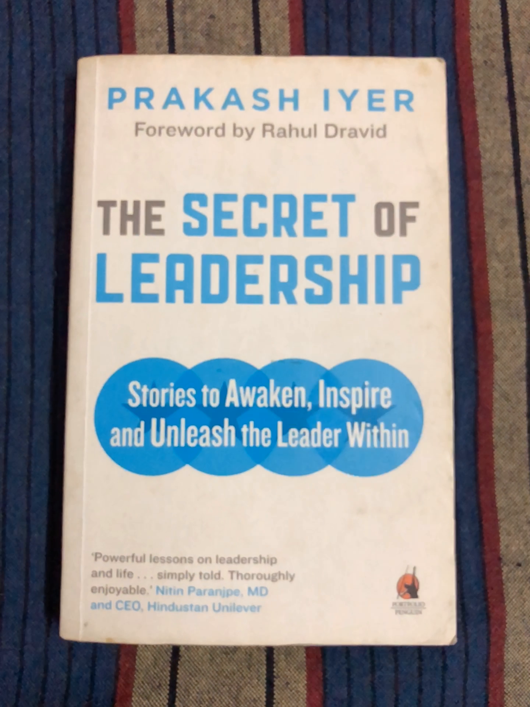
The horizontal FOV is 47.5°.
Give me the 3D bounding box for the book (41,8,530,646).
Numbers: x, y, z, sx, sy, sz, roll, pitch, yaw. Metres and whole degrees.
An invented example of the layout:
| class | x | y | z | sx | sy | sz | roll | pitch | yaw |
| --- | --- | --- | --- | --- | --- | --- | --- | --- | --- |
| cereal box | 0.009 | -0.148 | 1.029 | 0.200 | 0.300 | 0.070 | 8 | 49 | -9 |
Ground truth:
| class | x | y | z | sx | sy | sz | roll | pitch | yaw |
| --- | --- | --- | --- | --- | --- | --- | --- | --- | --- |
| book | 0.007 | -0.010 | 0.194 | 0.140 | 0.030 | 0.190 | 1 | 85 | -2 |
